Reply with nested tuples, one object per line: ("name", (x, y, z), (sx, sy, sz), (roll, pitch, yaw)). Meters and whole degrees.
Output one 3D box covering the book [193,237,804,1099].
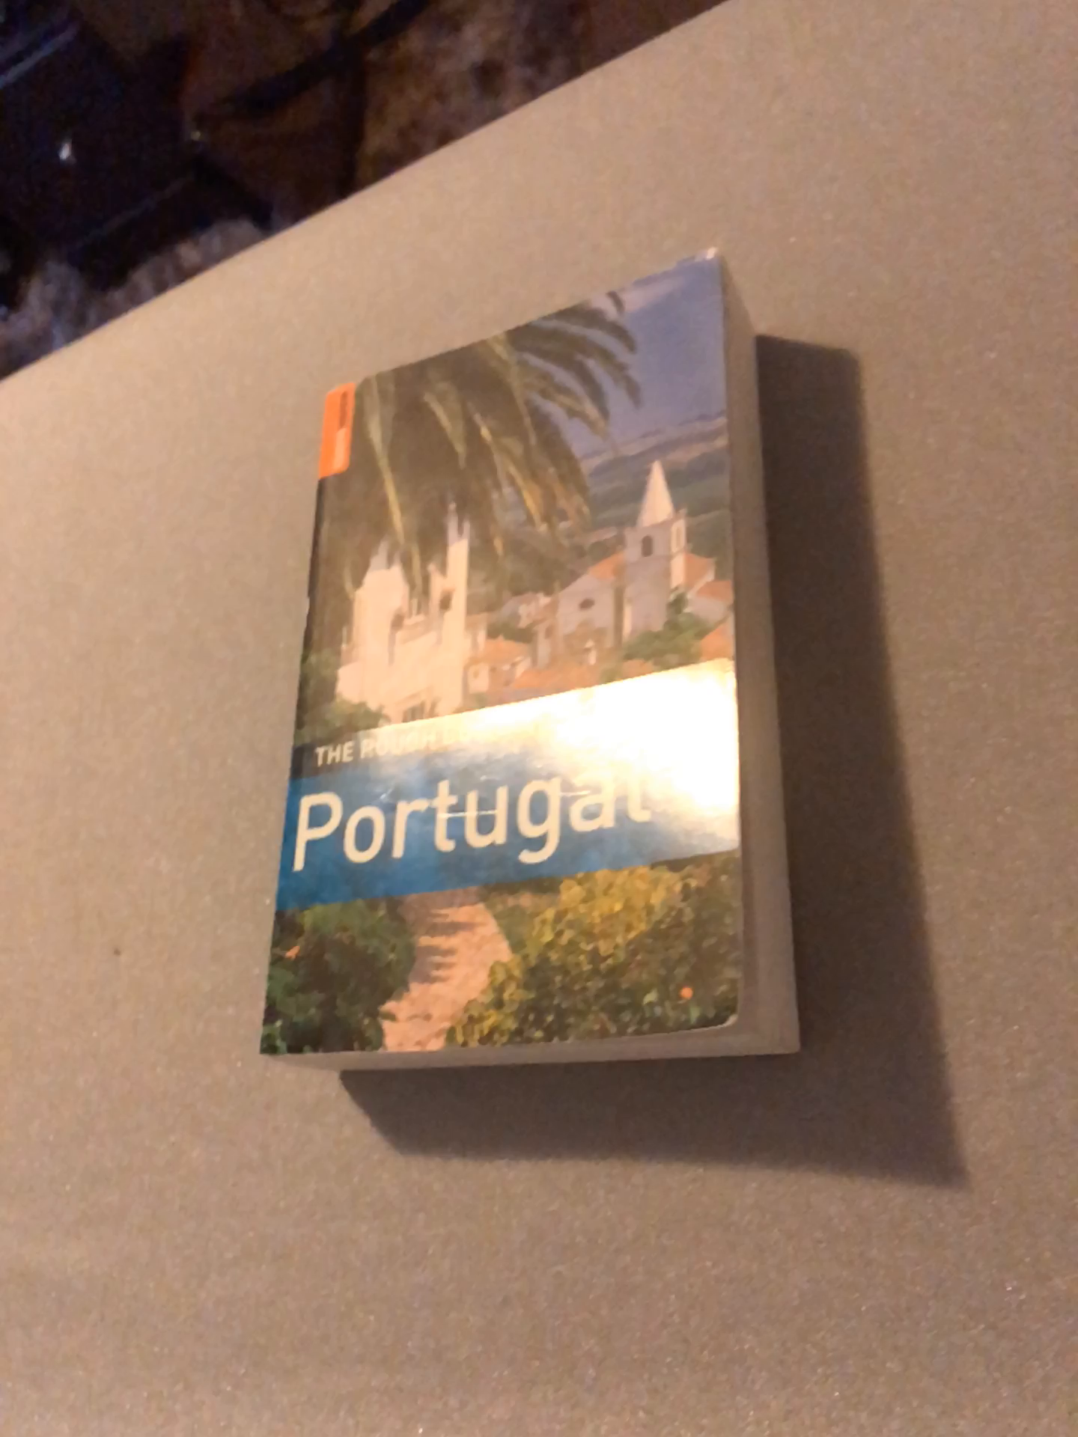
("book", (-0.010, -0.010, 0.316), (0.139, 0.040, 0.204), (-11, 64, 27))
